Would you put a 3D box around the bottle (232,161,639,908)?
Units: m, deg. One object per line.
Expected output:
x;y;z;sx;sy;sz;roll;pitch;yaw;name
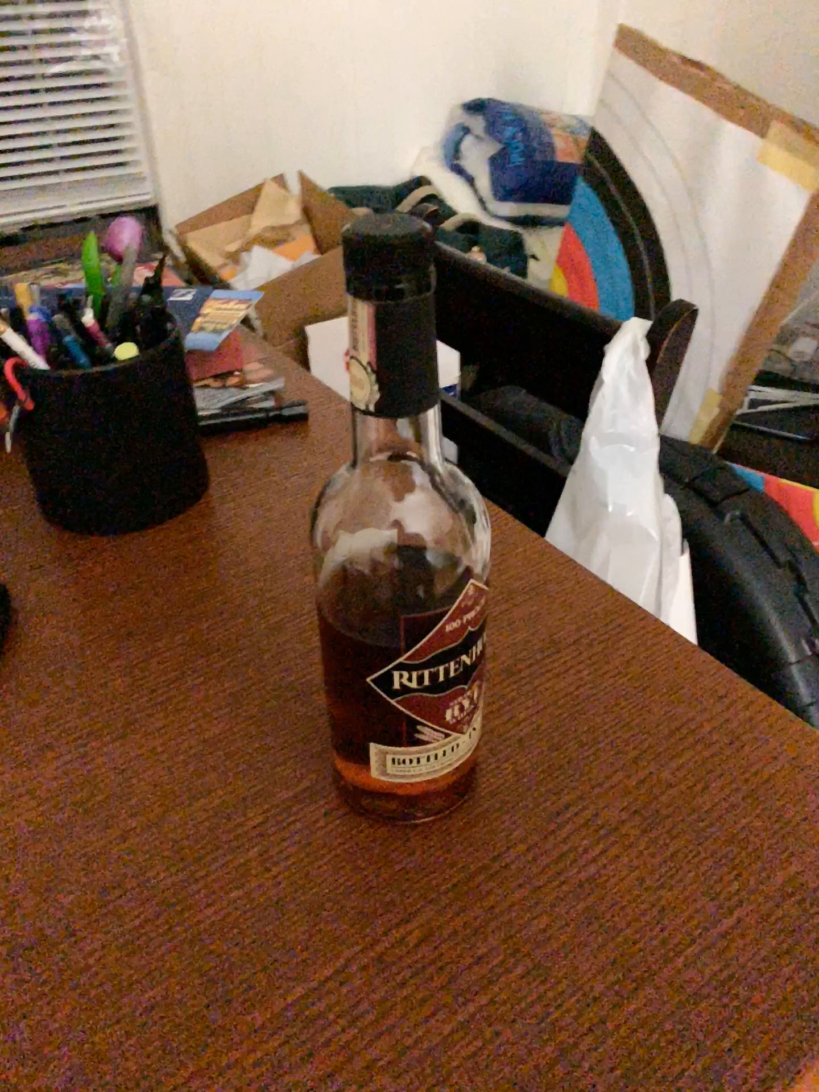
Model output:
0.010;0.011;0.348;0.090;0.288;0.090;-1;37;0;bottle
